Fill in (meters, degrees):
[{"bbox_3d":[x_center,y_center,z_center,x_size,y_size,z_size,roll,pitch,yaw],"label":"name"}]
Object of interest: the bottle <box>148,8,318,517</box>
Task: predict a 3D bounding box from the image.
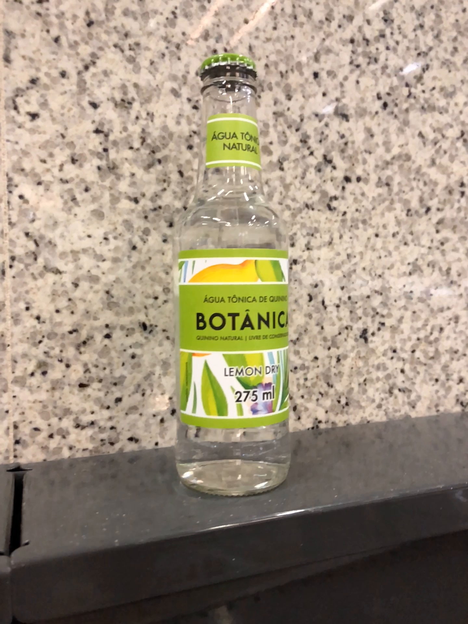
[{"bbox_3d":[-0.004,-0.020,0.256,0.060,0.210,0.060,1,5,0],"label":"bottle"}]
